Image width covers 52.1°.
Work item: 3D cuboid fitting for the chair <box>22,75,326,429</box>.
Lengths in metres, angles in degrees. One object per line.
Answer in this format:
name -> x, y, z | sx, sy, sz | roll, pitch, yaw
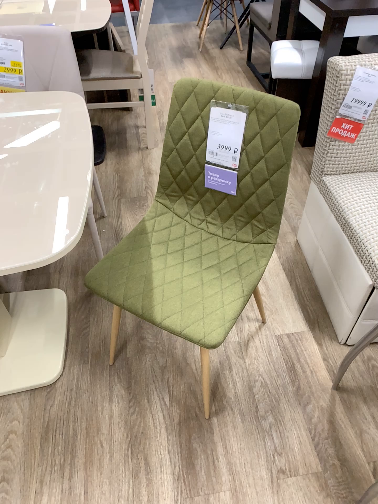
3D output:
chair -> 0.004, 0.019, 1.214 | 0.500, 0.836, 0.562 | 22, 50, 21
